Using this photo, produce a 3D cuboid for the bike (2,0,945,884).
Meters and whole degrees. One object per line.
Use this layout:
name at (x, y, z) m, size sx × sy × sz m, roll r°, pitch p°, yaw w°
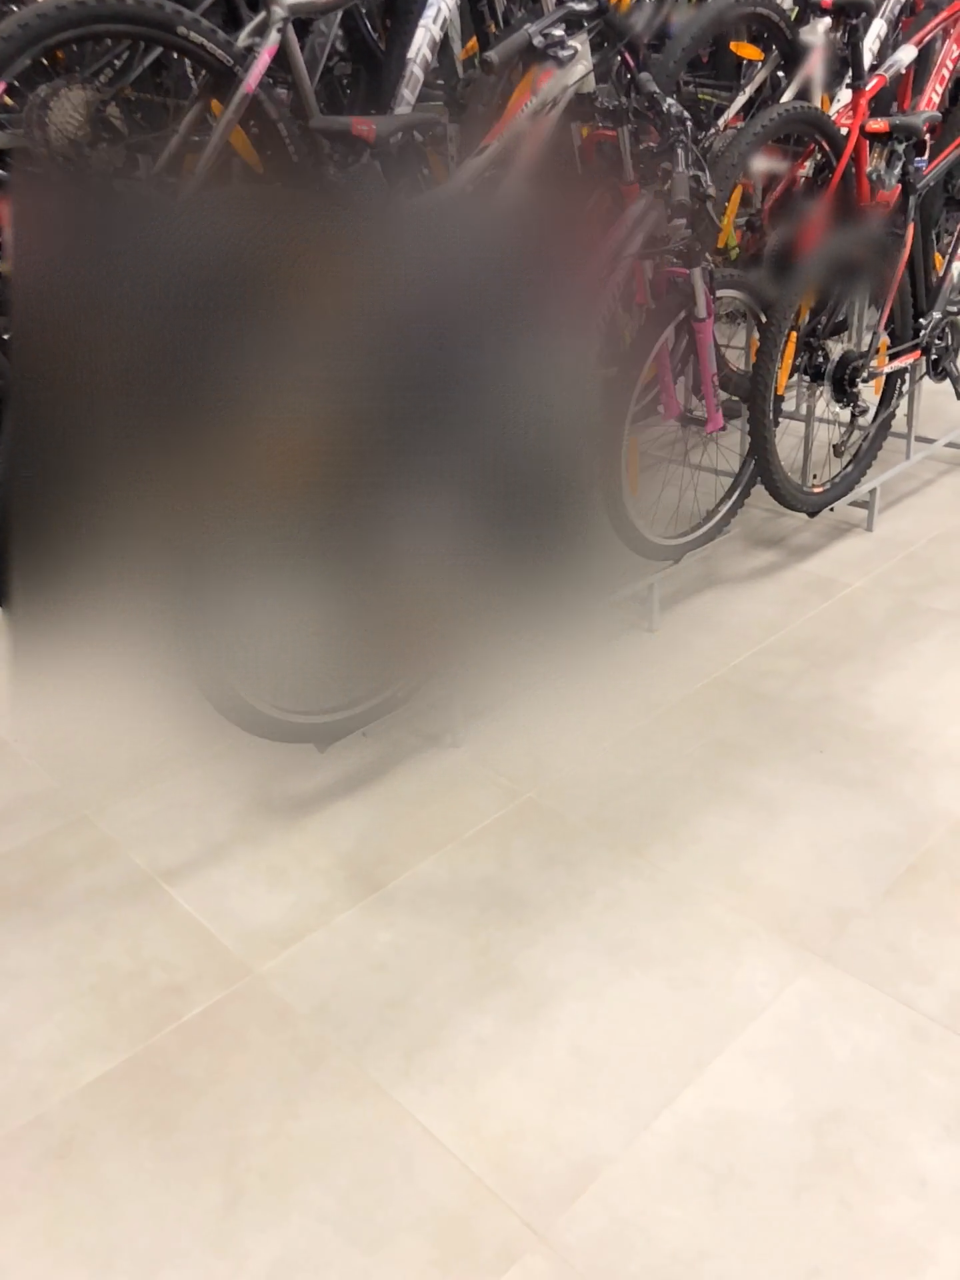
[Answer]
bike at (0.125, -0.549, 1.909) m, size 1.610 × 0.990 × 0.599 m, roll -30°, pitch 37°, yaw -35°
